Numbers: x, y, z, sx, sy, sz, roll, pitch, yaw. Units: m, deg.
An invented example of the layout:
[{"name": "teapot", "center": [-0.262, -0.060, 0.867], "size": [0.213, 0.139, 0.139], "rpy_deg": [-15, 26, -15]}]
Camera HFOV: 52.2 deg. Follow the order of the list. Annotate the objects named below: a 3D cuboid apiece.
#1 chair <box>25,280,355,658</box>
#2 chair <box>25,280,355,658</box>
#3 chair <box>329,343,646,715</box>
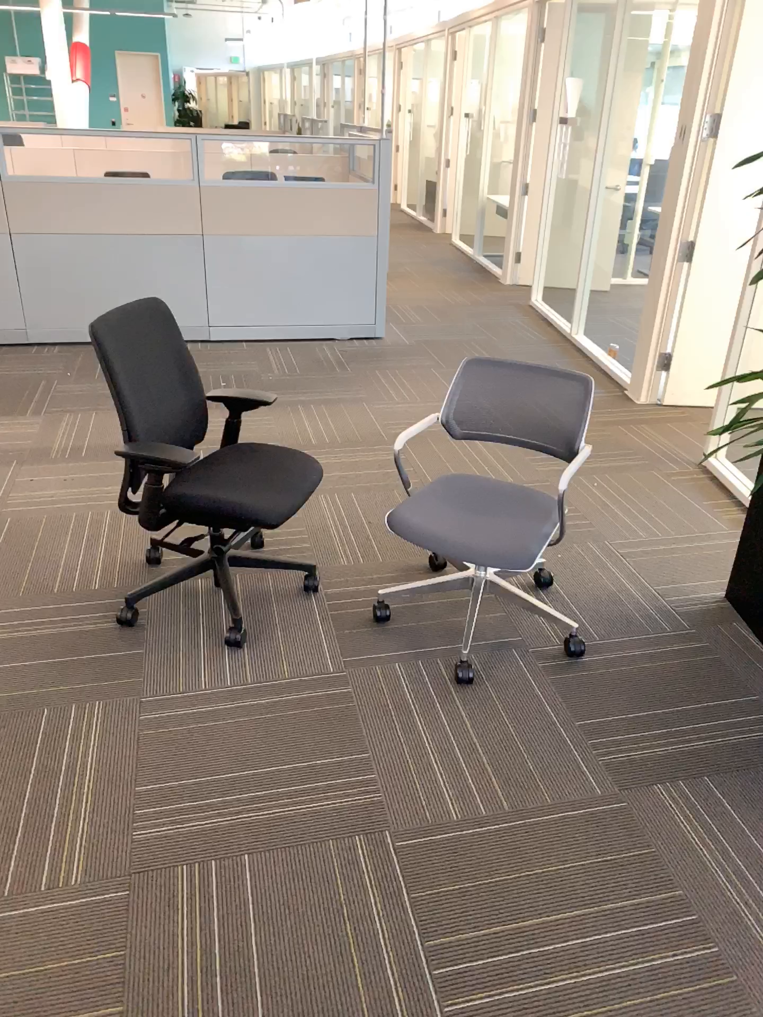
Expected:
[{"name": "chair", "center": [-0.529, -0.180, 2.558], "size": [0.710, 0.915, 0.824], "rpy_deg": [7, 27, 8]}, {"name": "chair", "center": [-0.529, -0.180, 2.558], "size": [0.710, 0.915, 0.824], "rpy_deg": [7, 27, 8]}, {"name": "chair", "center": [0.335, 0.001, 2.439], "size": [0.731, 0.775, 0.753], "rpy_deg": [13, 29, 20]}]
